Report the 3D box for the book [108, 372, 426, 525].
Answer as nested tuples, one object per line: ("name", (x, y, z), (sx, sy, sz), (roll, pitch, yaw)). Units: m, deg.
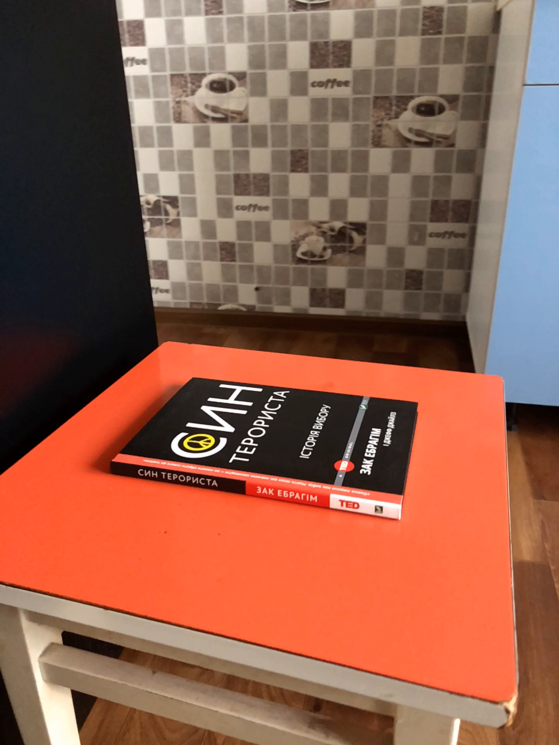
("book", (0.001, 0.047, 0.467), (0.205, 0.013, 0.150), (6, 26, 15))
